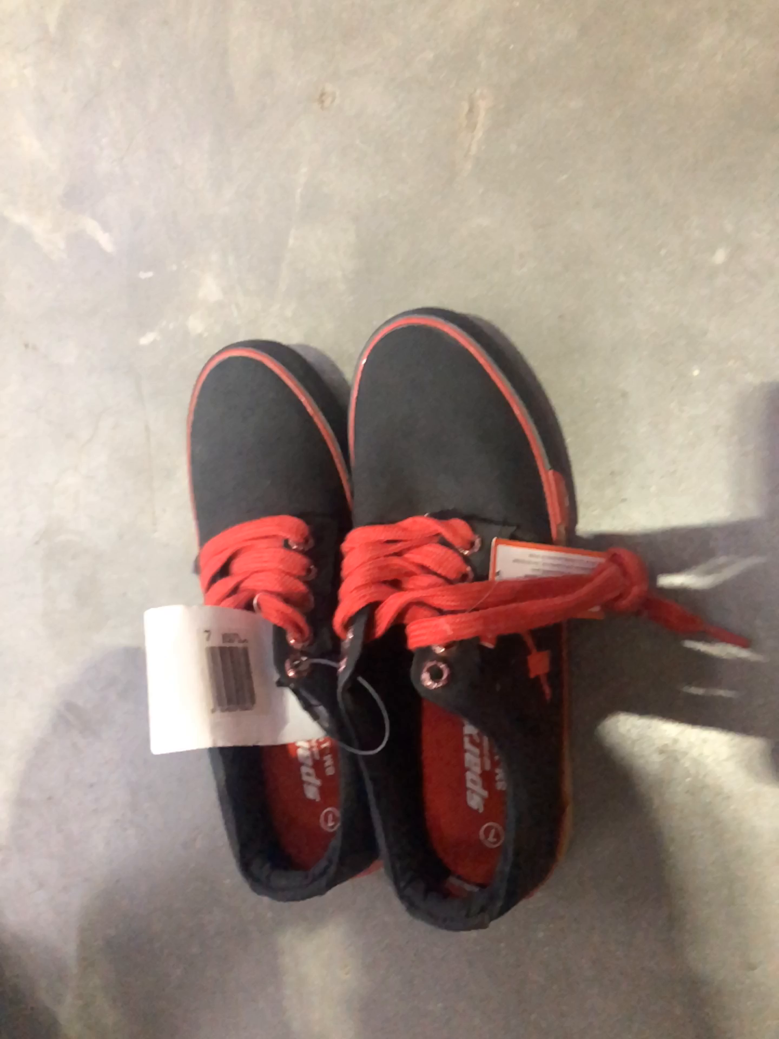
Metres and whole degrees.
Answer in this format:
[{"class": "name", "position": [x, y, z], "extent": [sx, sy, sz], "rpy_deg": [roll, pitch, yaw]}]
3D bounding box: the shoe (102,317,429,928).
[{"class": "shoe", "position": [-0.055, 0.047, 0.420], "extent": [0.100, 0.100, 0.250], "rpy_deg": [-9, 84, 10]}]

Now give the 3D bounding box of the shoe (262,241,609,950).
[{"class": "shoe", "position": [0.023, 0.029, 0.371], "extent": [0.100, 0.100, 0.250], "rpy_deg": [-6, 86, 25]}]
